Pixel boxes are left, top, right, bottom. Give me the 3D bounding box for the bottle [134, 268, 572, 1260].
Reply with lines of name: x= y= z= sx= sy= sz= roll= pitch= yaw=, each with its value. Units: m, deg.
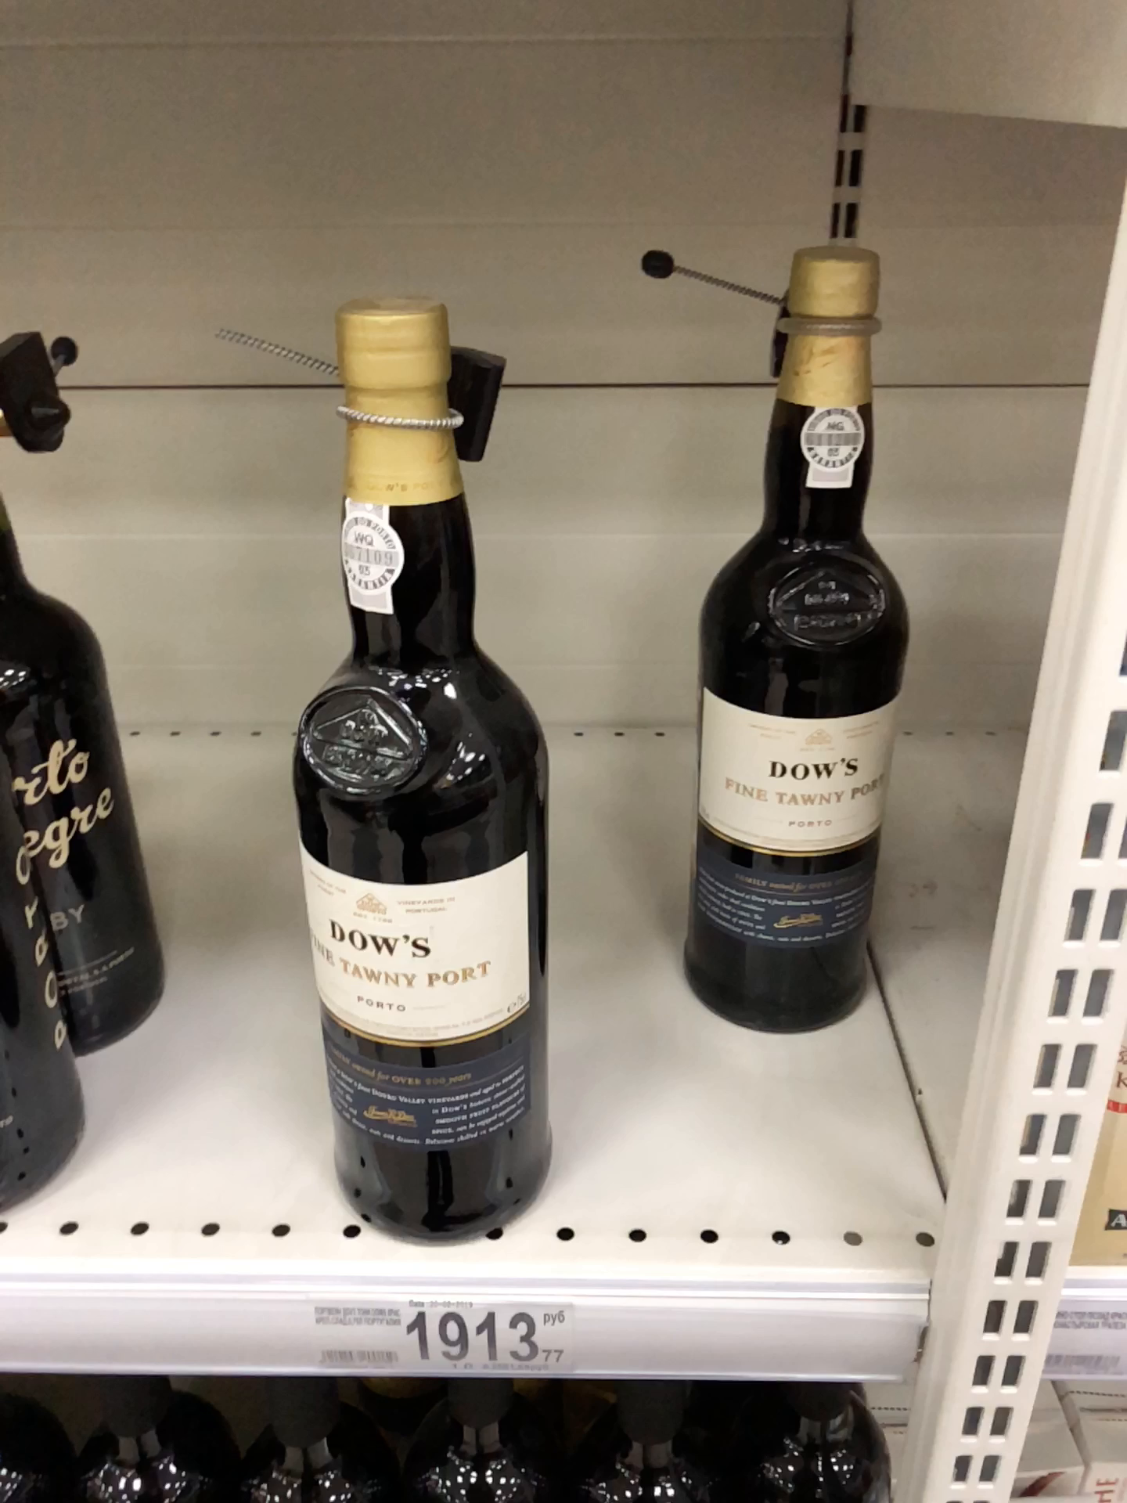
bottle: x=-0.048 y=0.013 z=0.387 sx=0.090 sy=0.296 sz=0.091 roll=-1 pitch=26 yaw=0
